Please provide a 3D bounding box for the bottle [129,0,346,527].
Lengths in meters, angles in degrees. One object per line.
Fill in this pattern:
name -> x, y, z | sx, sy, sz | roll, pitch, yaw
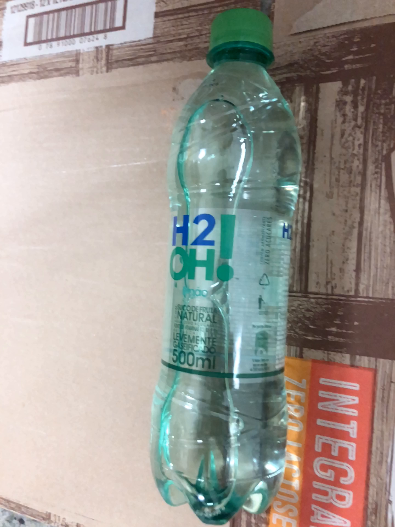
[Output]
bottle -> 0.022, -0.008, 0.204 | 0.070, 0.050, 0.250 | 3, 88, 23
